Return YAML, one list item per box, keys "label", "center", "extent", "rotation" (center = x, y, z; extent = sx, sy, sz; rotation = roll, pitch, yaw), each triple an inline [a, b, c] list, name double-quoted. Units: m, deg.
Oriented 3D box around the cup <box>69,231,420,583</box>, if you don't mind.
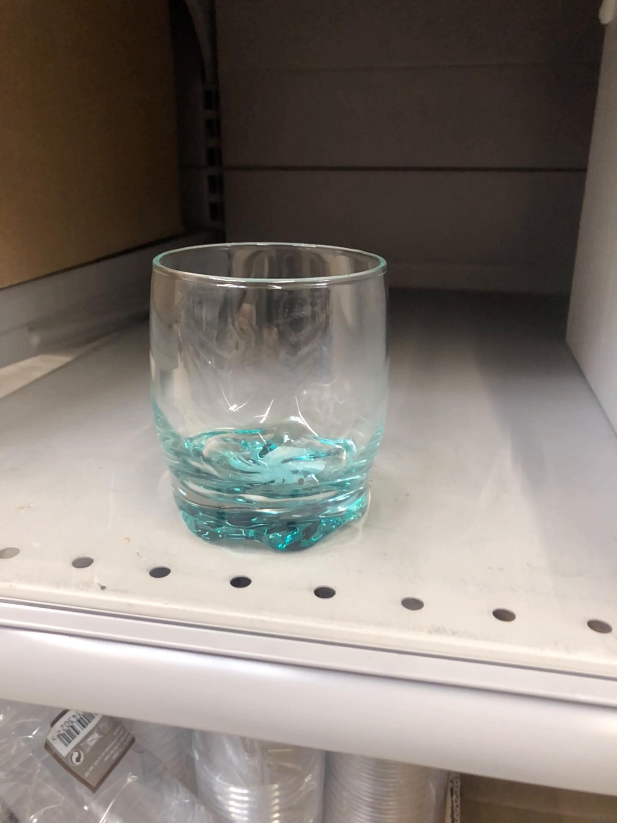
- label: "cup"
  center: [-0.014, -0.009, 0.220]
  extent: [0.082, 0.082, 0.075]
  rotation: [8, 22, 16]
